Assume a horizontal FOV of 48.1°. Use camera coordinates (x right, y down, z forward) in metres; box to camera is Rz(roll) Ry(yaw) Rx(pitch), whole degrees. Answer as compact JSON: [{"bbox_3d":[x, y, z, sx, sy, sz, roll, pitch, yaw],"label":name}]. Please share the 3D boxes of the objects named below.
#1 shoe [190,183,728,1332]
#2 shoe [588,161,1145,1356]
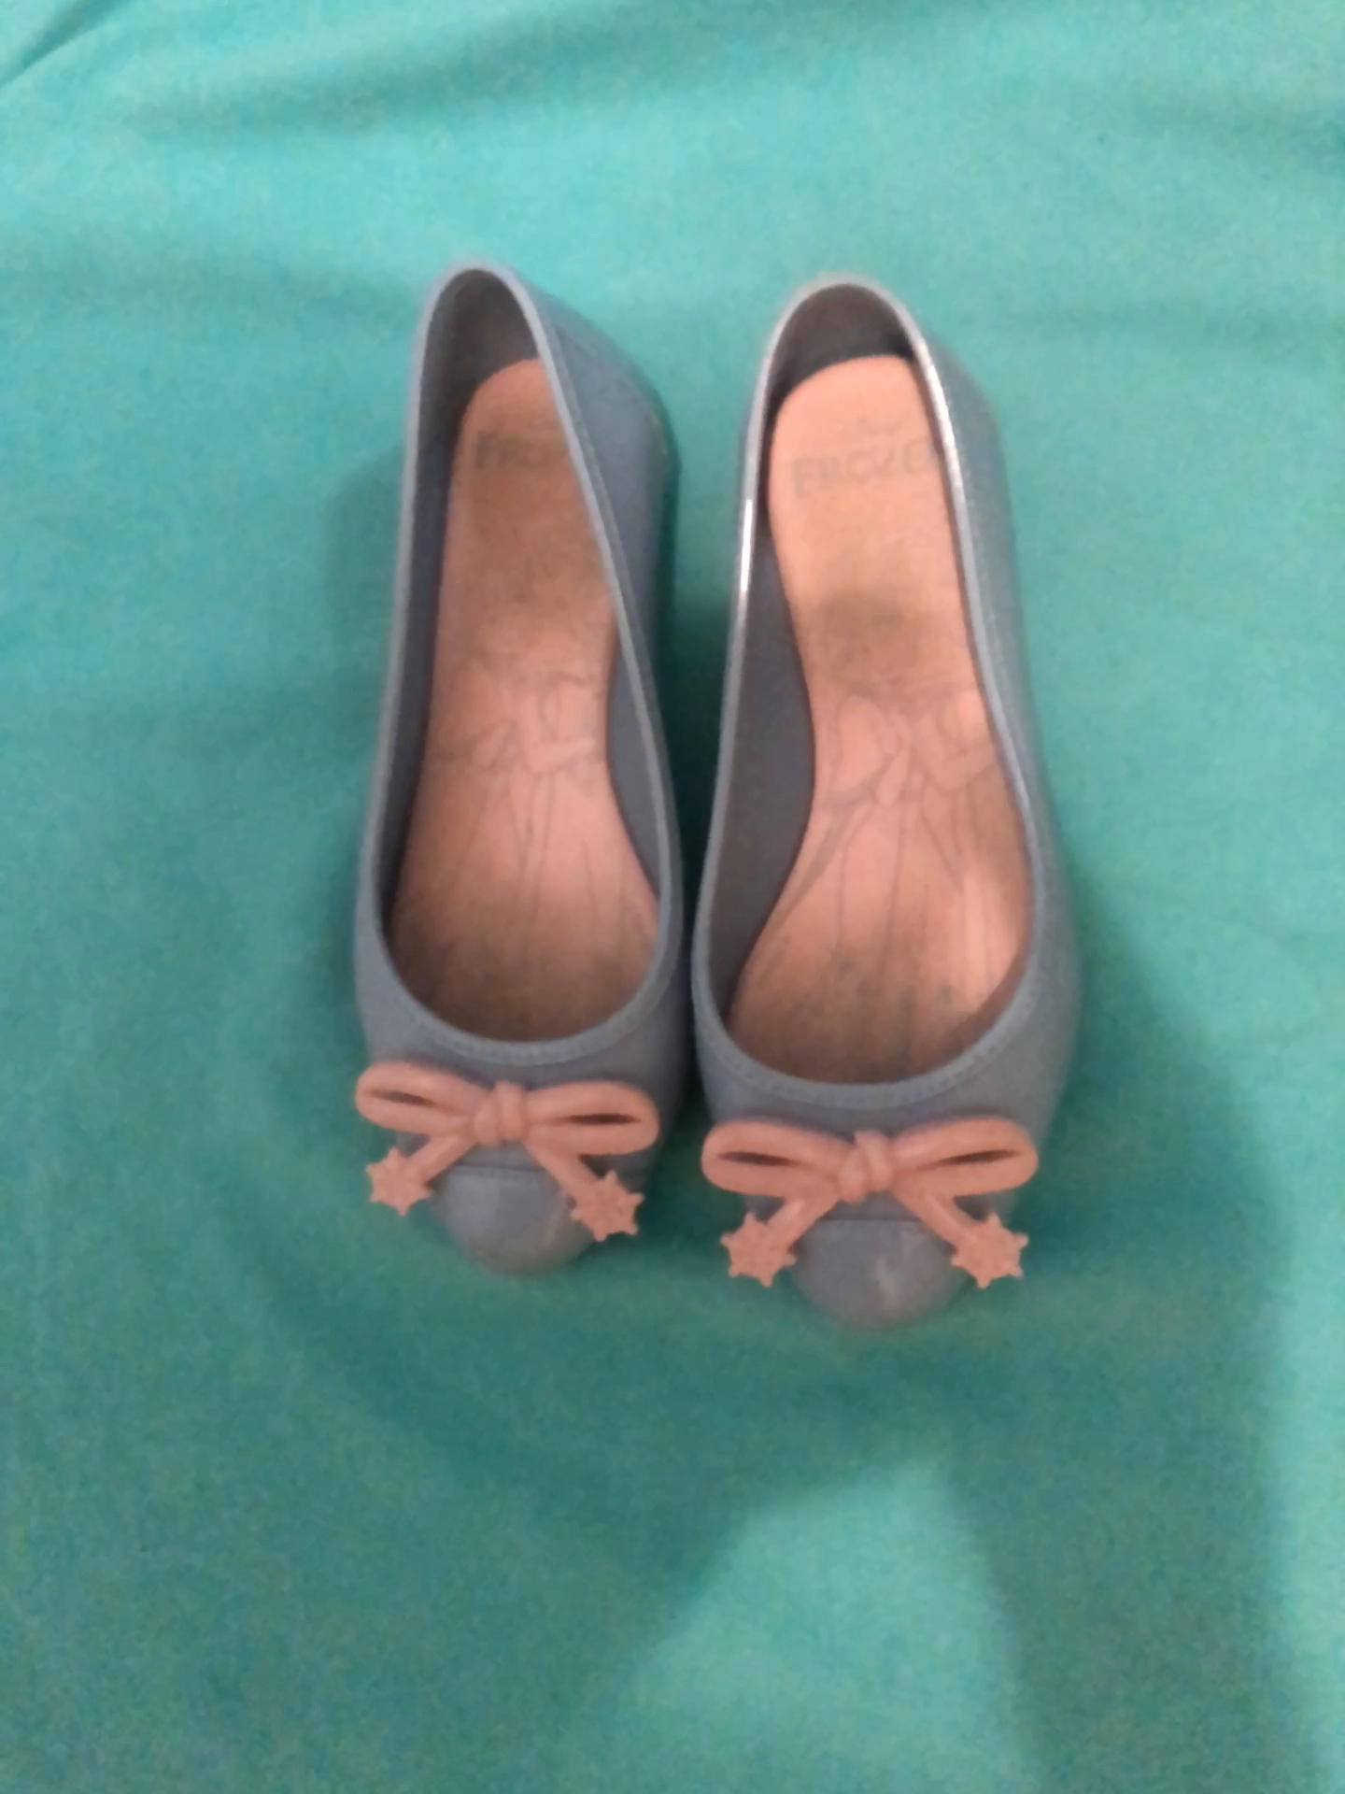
[{"bbox_3d":[-0.038,-0.021,0.283,0.080,0.060,0.190,-3,84,11],"label":"shoe"},{"bbox_3d":[0.034,-0.021,0.273,0.080,0.060,0.190,-3,84,11],"label":"shoe"}]
